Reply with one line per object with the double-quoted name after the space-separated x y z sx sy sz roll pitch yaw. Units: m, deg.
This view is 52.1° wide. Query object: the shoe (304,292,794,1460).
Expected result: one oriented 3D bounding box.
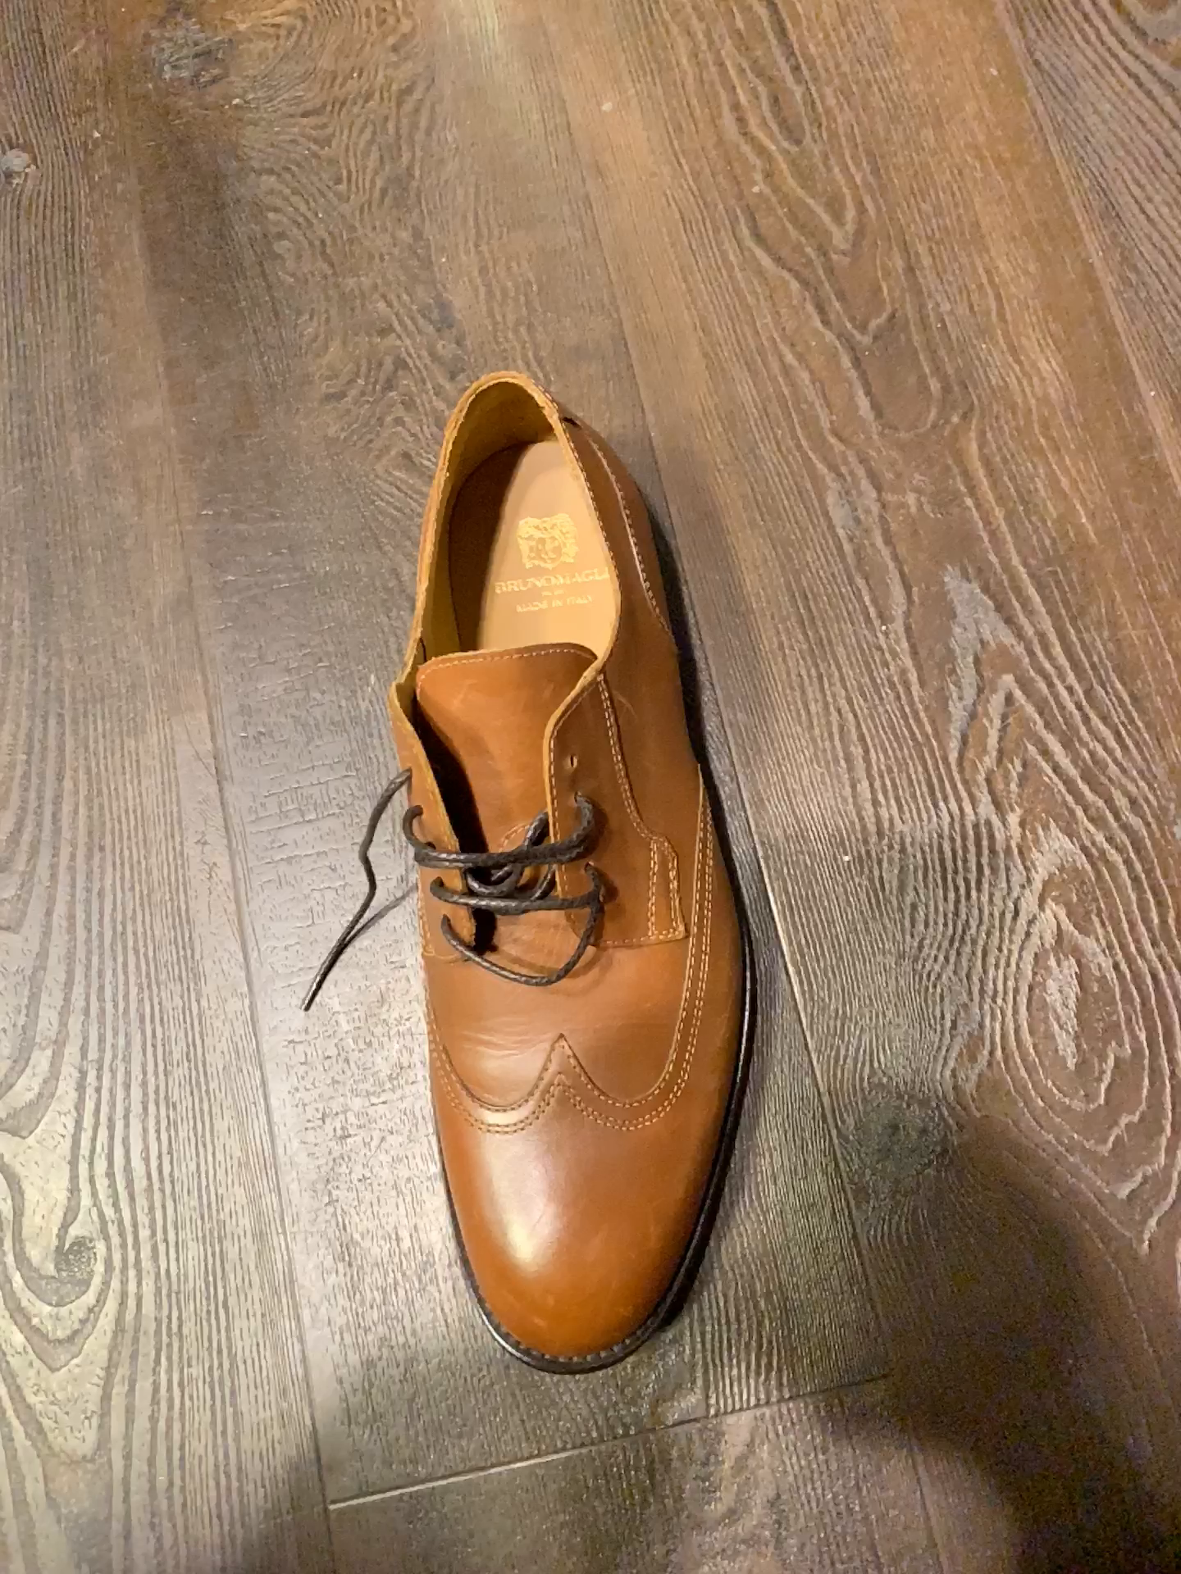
-0.014 0.020 0.387 0.120 0.110 0.321 -3 76 3 "shoe"
